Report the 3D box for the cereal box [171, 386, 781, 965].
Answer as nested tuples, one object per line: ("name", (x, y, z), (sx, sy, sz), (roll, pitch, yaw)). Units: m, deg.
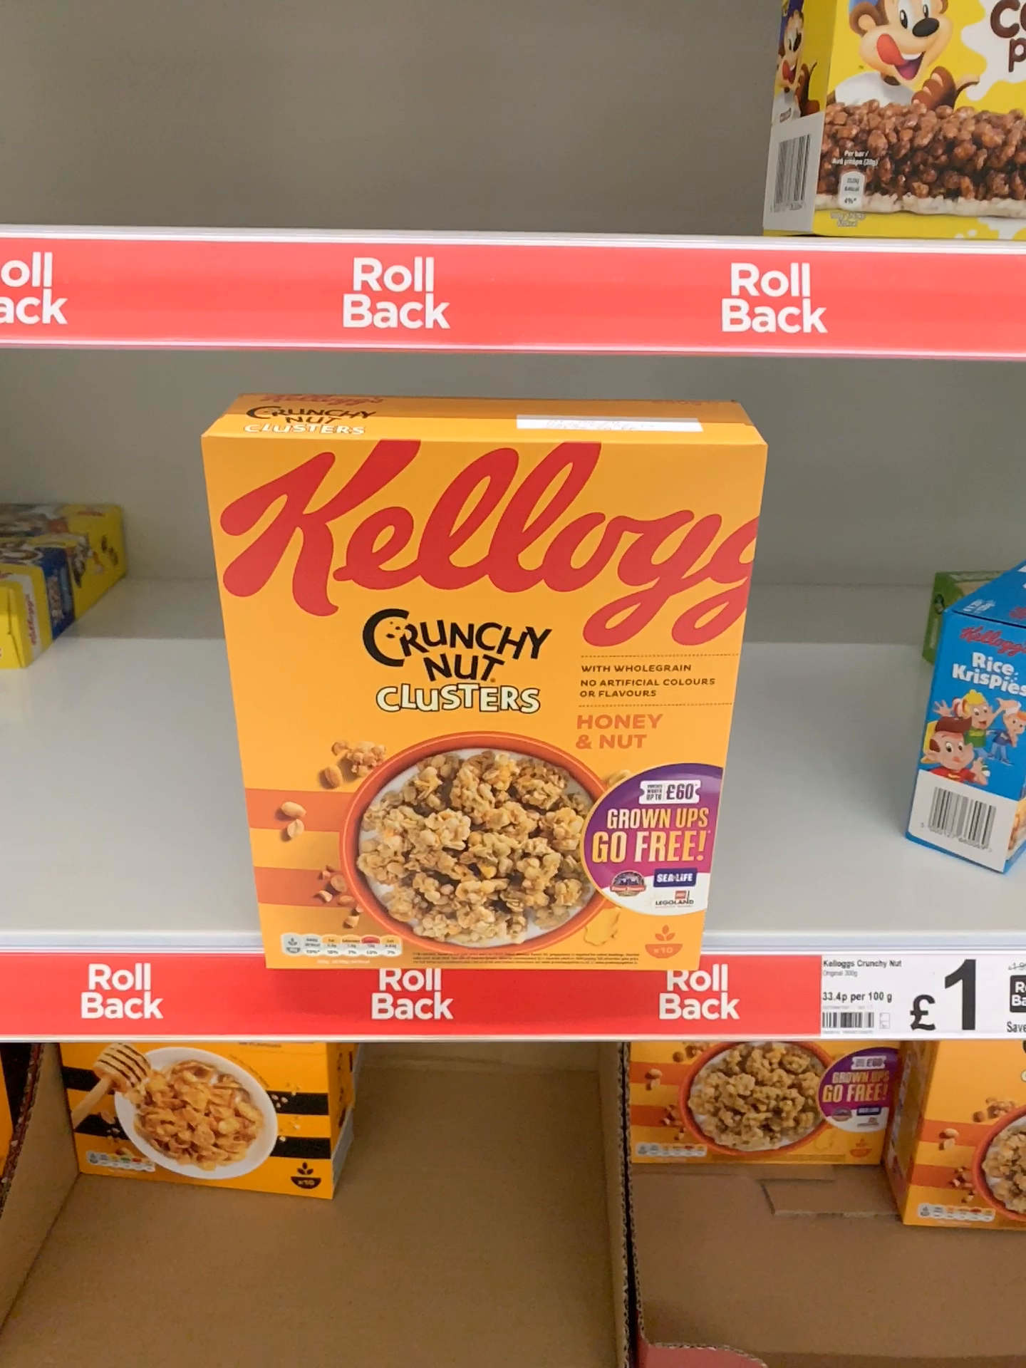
("cereal box", (-0.014, 0.004, 0.426), (0.200, 0.228, 0.061), (1, 27, -1))
